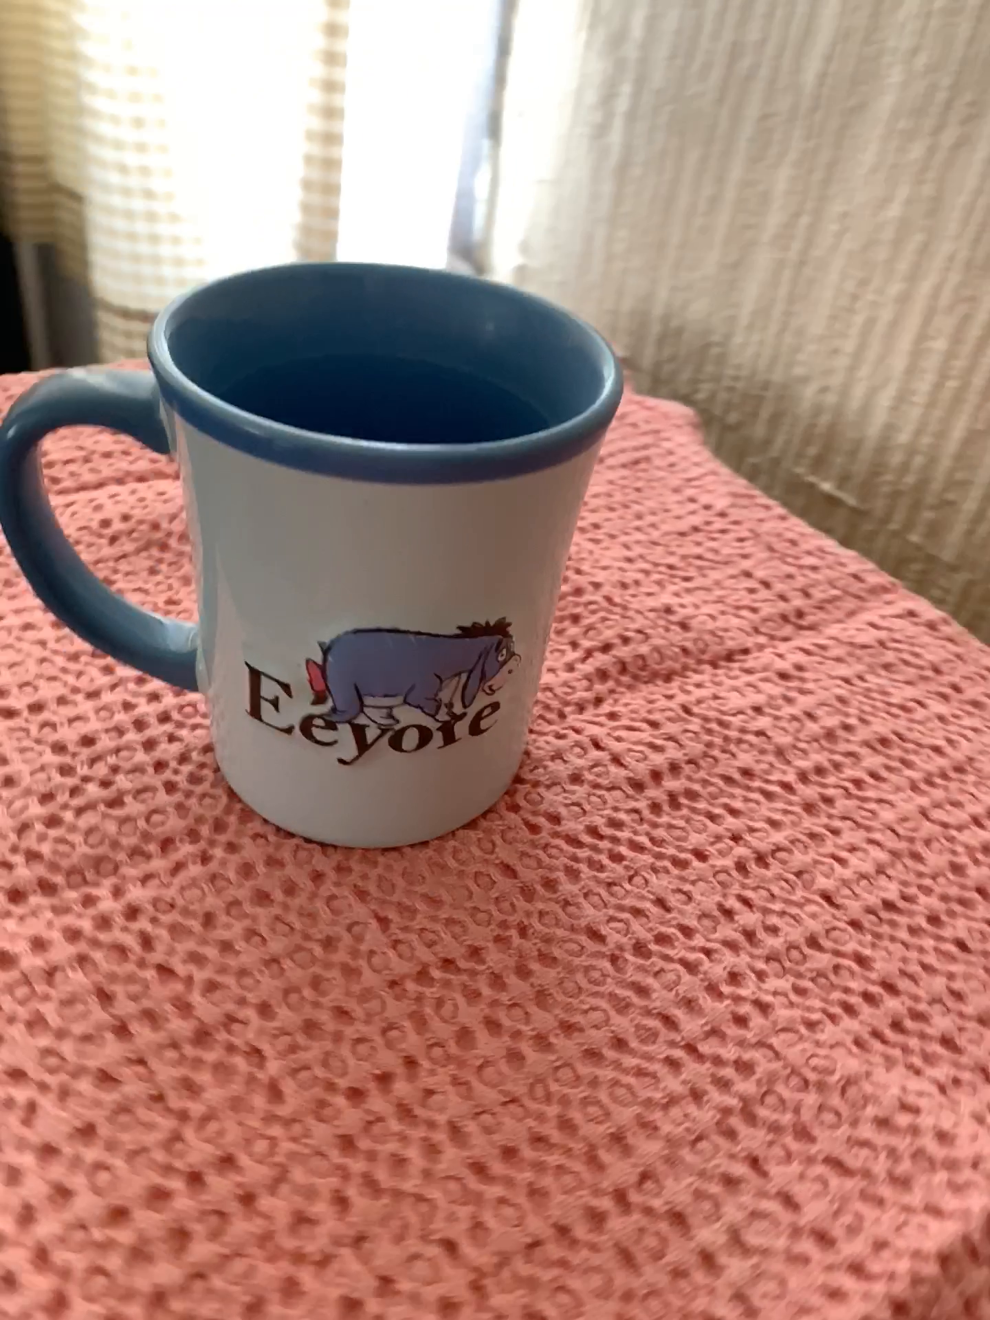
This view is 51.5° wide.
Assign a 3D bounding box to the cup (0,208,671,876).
[{"bbox_3d":[-0.037,-0.024,0.215,0.110,0.099,0.091,3,39,-8],"label":"cup"}]
